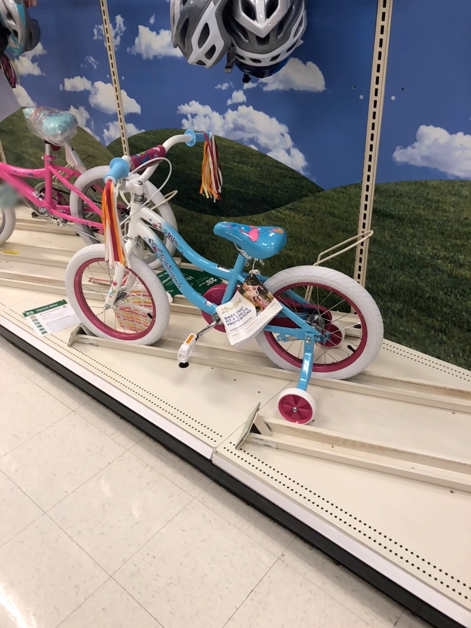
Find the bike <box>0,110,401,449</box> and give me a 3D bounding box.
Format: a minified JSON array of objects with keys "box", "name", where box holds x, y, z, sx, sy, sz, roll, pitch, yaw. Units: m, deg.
[{"box":[-0.090,-0.173,1.614,1.090,0.723,0.535,10,33,17],"name":"bike"}]
